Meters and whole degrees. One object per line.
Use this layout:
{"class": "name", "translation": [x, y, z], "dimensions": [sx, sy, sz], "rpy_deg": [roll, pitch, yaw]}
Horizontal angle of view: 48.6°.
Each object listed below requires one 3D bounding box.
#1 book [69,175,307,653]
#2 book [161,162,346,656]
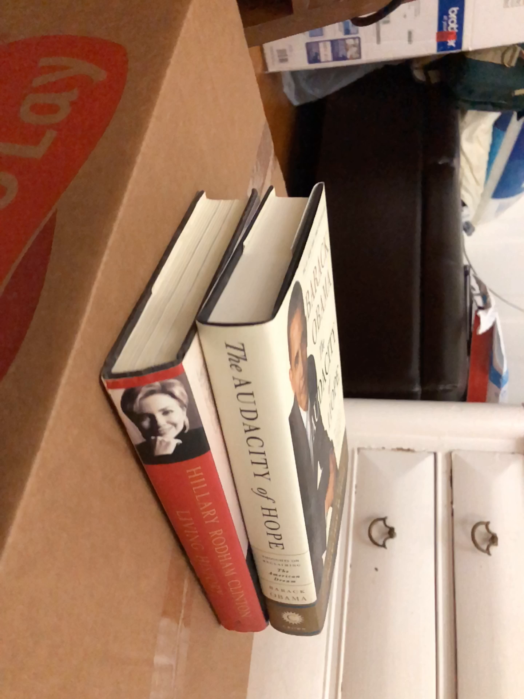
{"class": "book", "translation": [-0.018, 0.048, 0.363], "dimensions": [0.170, 0.040, 0.250], "rpy_deg": [-74, 159, -45]}
{"class": "book", "translation": [0.017, 0.036, 0.374], "dimensions": [0.191, 0.040, 0.250], "rpy_deg": [-71, 156, -51]}
